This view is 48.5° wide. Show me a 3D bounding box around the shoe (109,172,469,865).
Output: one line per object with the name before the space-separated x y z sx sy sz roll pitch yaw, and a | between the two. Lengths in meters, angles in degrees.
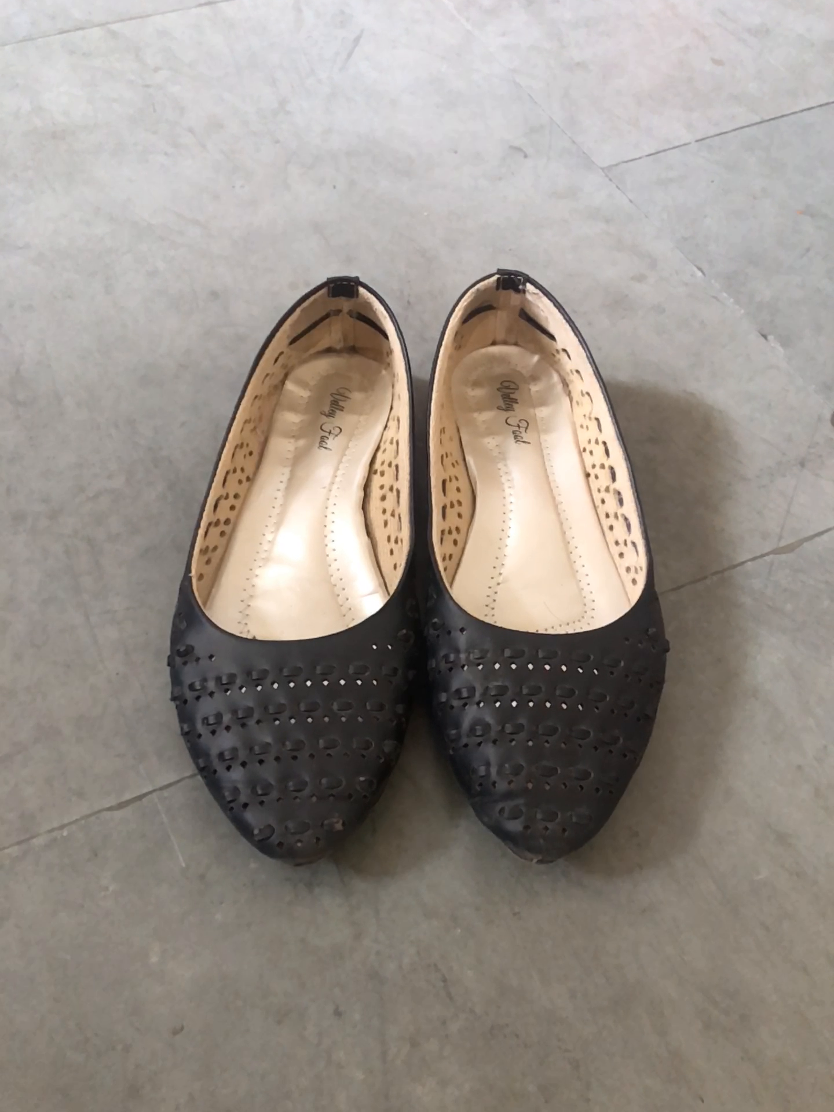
shoe | -0.034 -0.029 0.356 0.100 0.070 0.271 0 60 1

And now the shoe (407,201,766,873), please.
shoe | 0.049 -0.027 0.368 0.100 0.070 0.281 0 55 1
